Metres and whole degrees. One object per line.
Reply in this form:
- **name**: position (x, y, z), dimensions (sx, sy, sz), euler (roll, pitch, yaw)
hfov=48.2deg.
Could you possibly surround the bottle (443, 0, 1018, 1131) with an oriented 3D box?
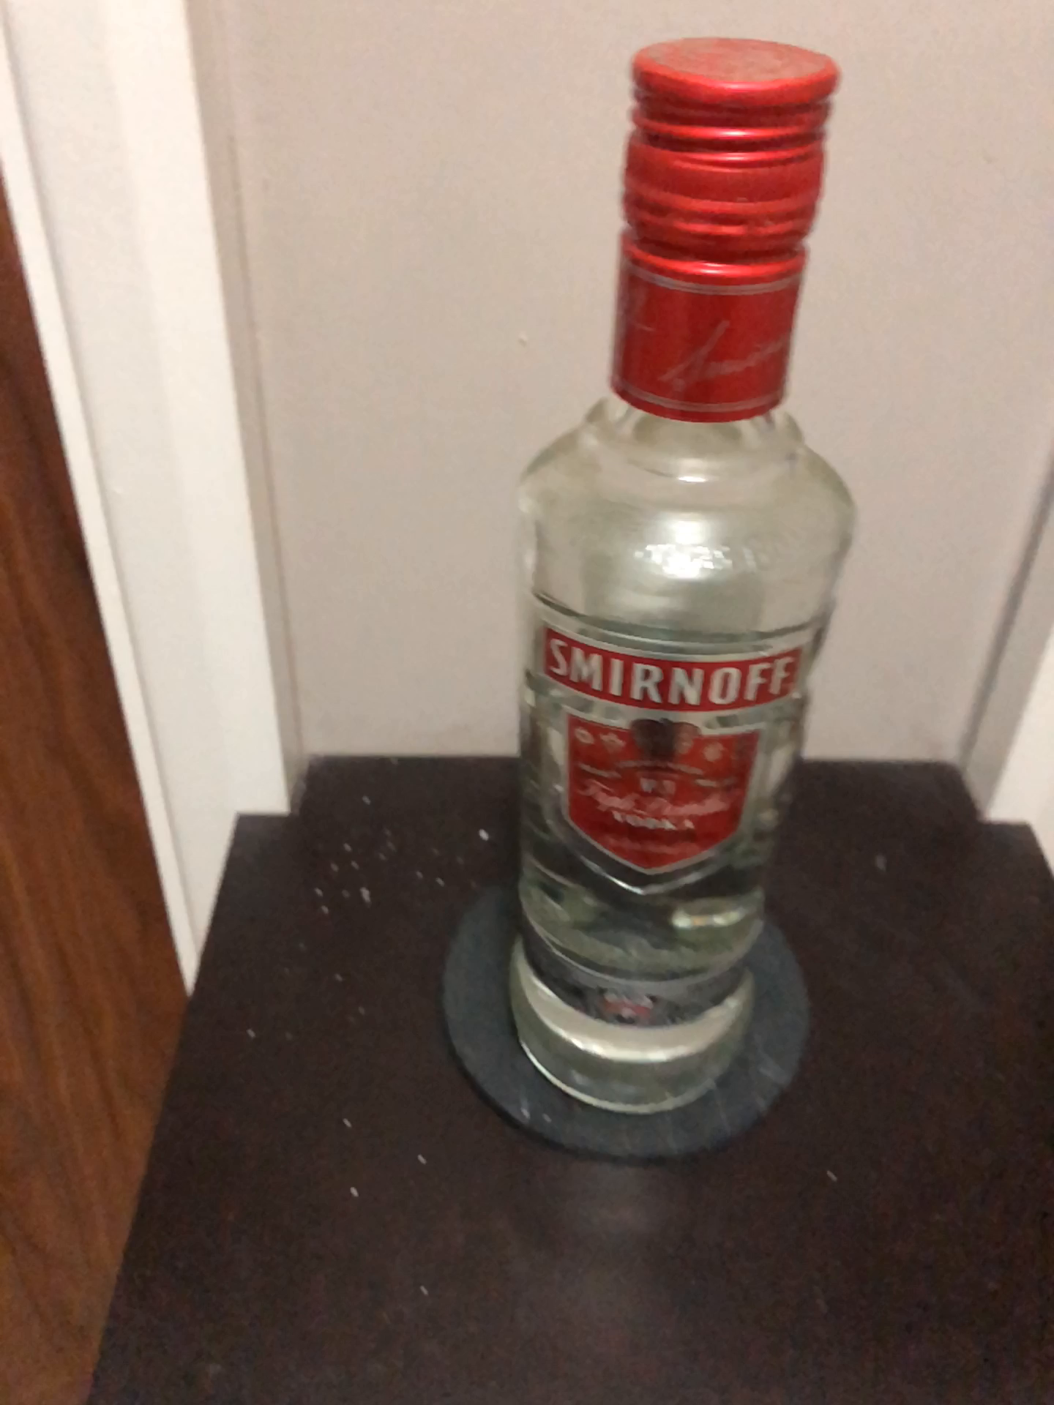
- **bottle**: position (0.025, -0.011, 0.239), dimensions (0.070, 0.218, 0.071), euler (1, 38, -1)
